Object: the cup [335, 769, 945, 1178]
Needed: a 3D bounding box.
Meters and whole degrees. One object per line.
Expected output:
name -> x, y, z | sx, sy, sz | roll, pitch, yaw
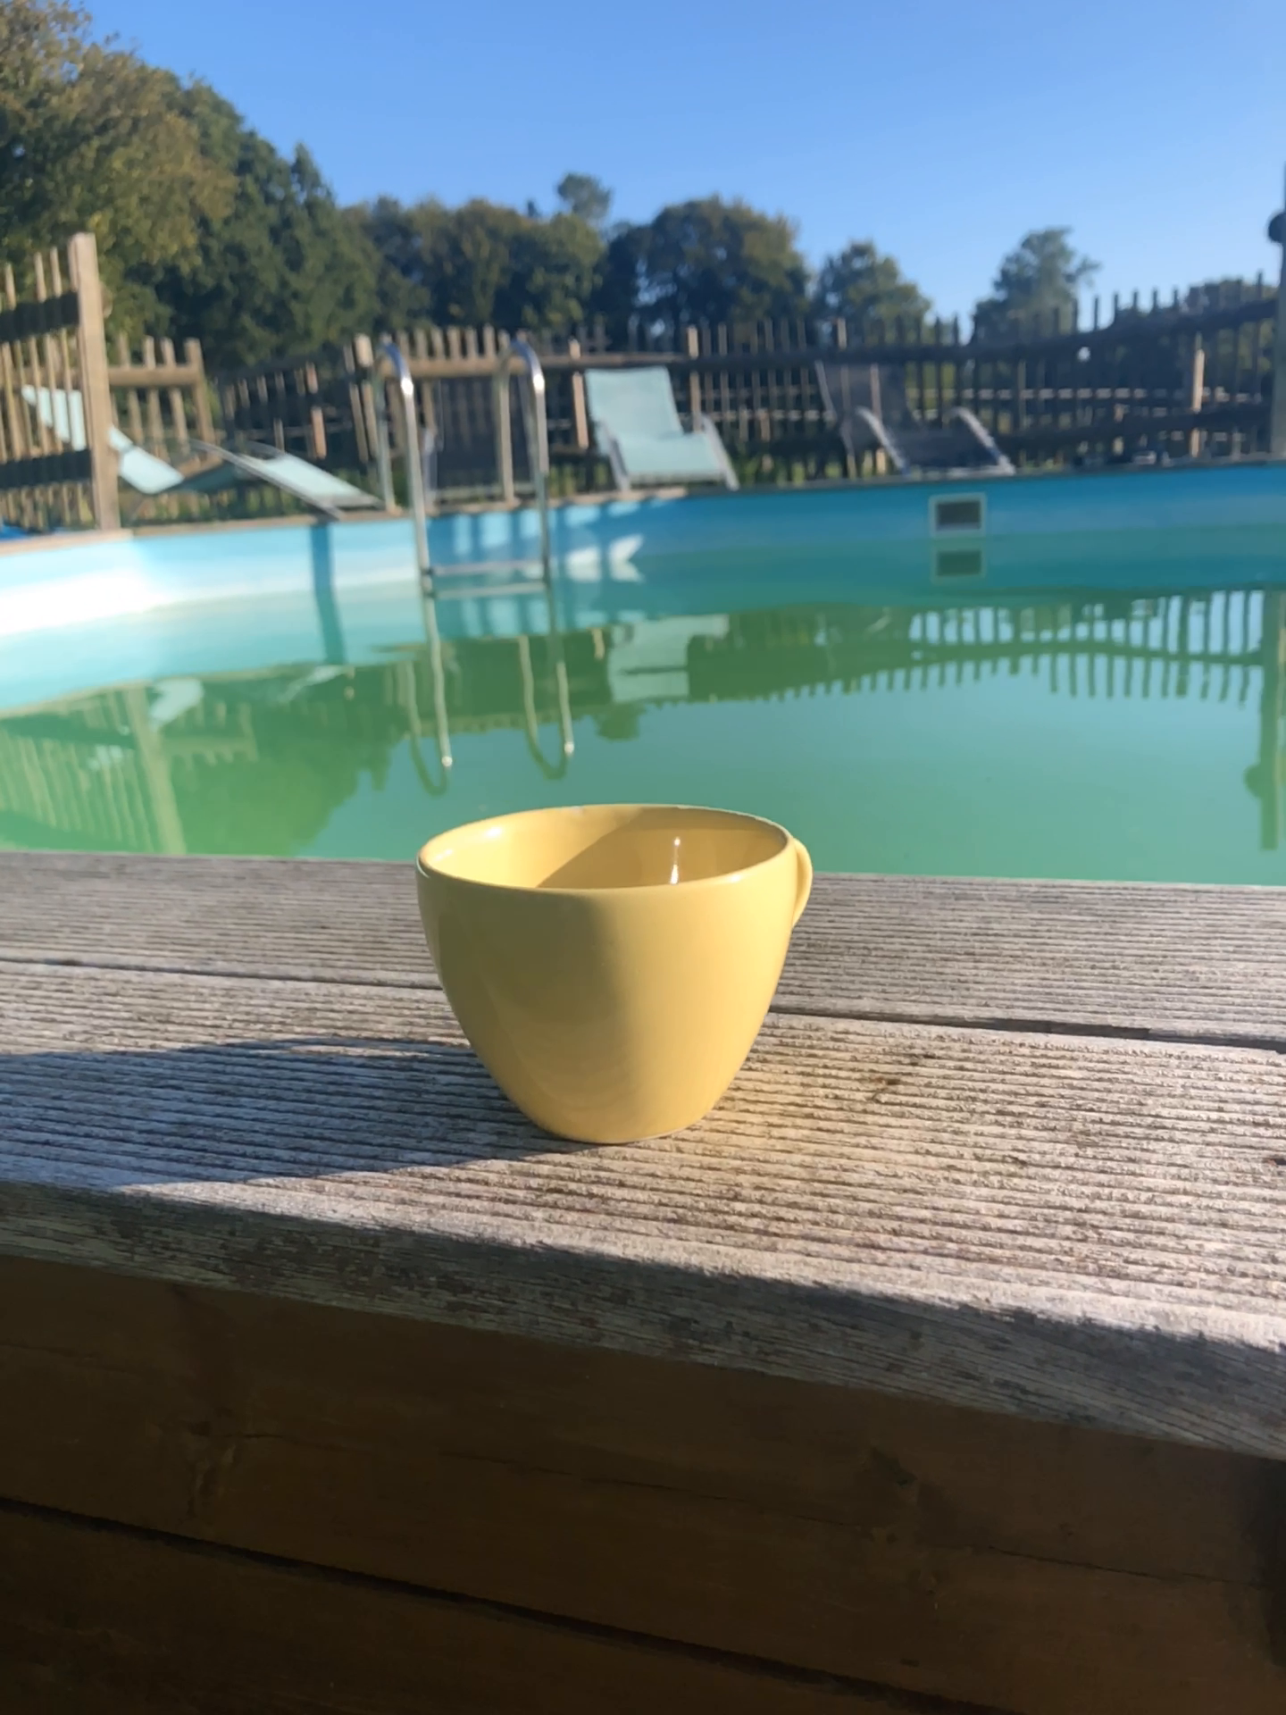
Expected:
cup -> 0.001, 0.019, 0.338 | 0.112, 0.053, 0.089 | -15, 18, -40
